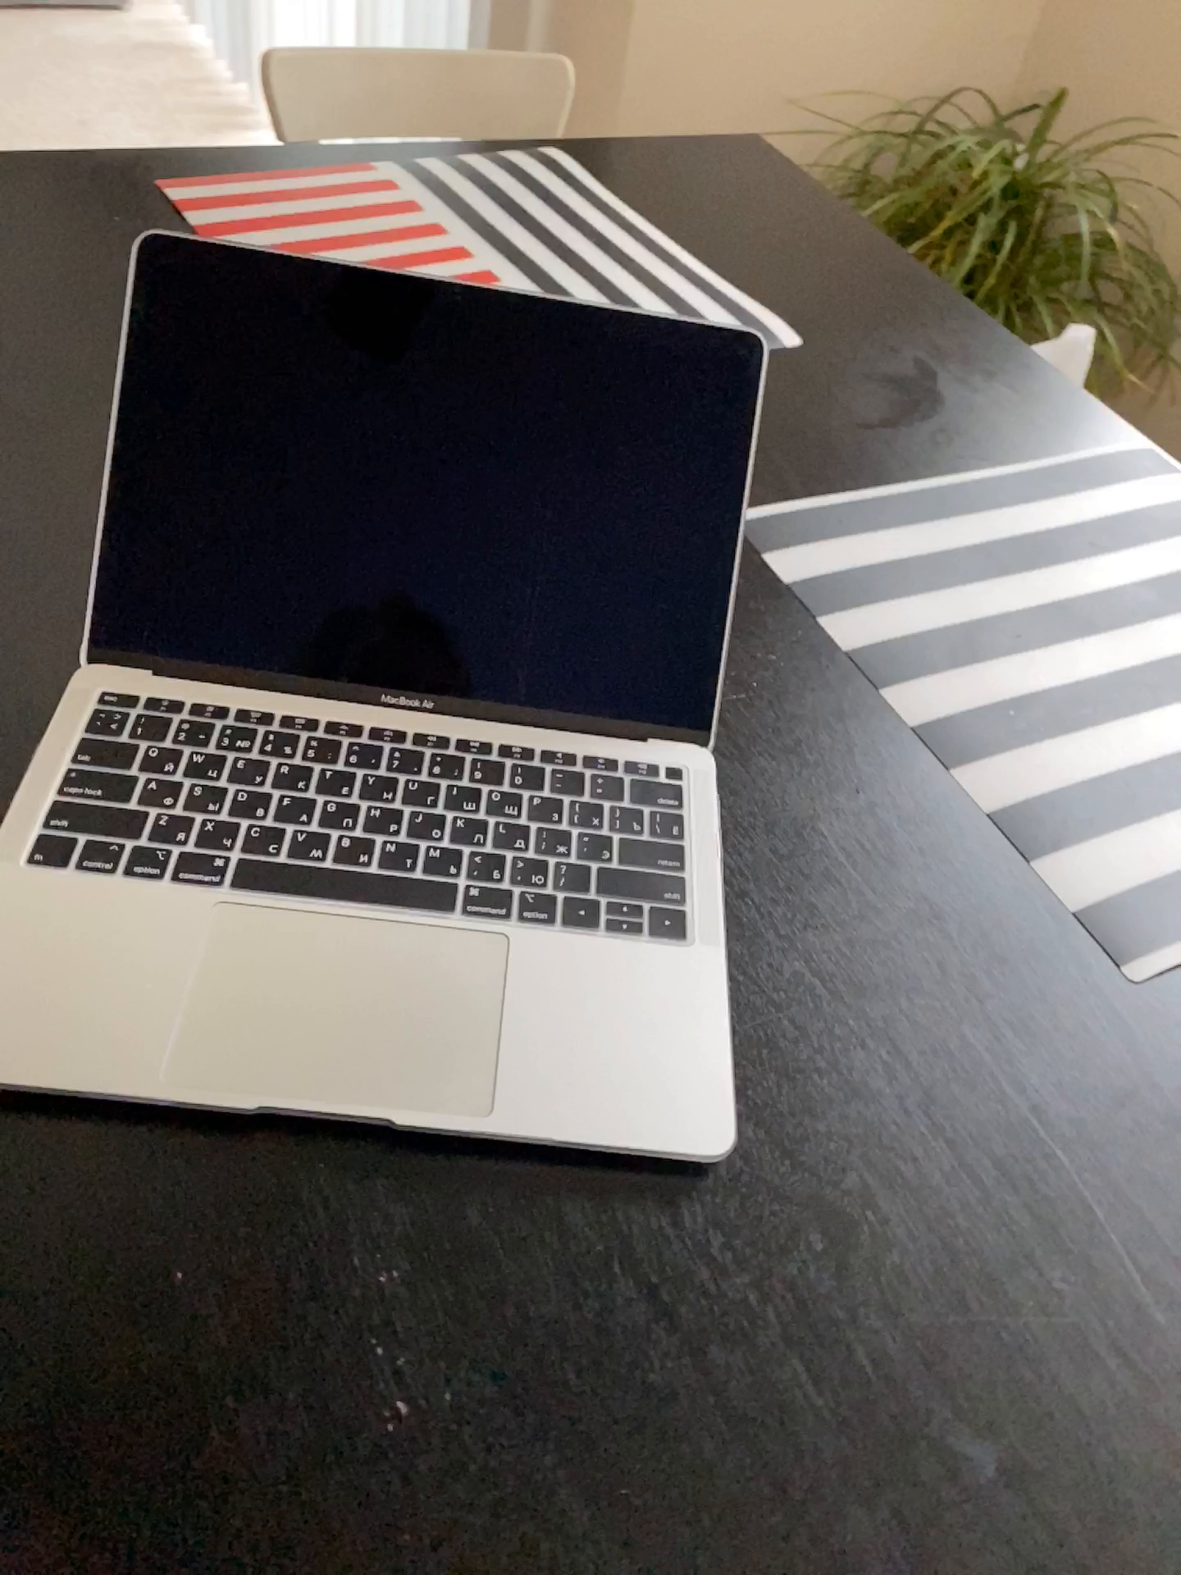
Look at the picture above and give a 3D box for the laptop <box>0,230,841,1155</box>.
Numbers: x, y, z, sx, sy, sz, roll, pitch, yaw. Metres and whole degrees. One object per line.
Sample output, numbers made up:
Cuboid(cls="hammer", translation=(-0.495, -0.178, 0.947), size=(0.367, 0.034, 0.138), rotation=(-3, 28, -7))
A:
Cuboid(cls="laptop", translation=(-0.081, -0.062, 0.503), size=(0.296, 0.139, 0.363), rotation=(7, 47, -5))
